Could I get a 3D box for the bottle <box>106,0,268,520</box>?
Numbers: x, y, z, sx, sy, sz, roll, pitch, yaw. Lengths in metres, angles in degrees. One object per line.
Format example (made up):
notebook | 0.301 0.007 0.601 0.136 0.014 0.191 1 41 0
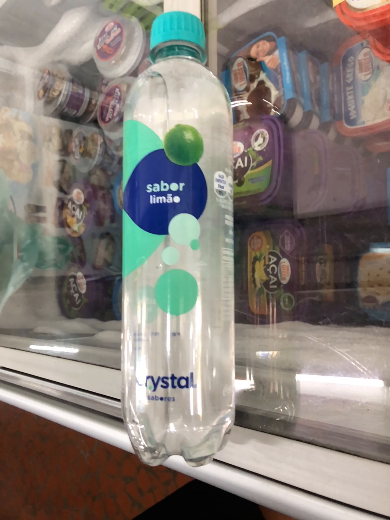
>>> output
bottle | 0.000 0.005 0.227 0.070 0.070 0.240 1 92 11
